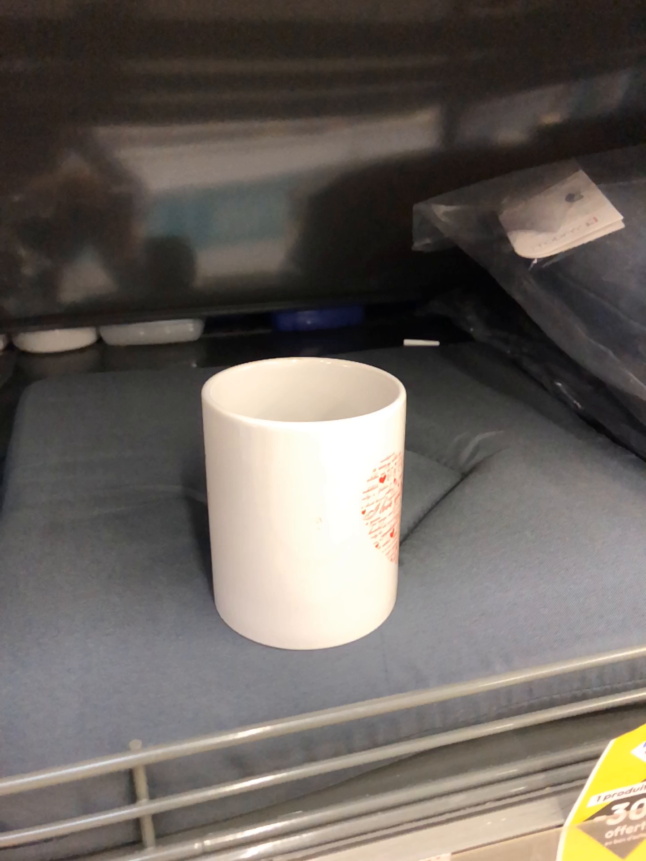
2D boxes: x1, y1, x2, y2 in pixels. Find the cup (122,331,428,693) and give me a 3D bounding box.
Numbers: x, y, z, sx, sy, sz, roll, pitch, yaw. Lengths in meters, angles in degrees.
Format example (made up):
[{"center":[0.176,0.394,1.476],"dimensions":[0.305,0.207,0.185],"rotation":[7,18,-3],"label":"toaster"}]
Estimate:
[{"center":[-0.010,0.024,0.311],"dimensions":[0.090,0.099,0.121],"rotation":[6,24,15],"label":"cup"}]
